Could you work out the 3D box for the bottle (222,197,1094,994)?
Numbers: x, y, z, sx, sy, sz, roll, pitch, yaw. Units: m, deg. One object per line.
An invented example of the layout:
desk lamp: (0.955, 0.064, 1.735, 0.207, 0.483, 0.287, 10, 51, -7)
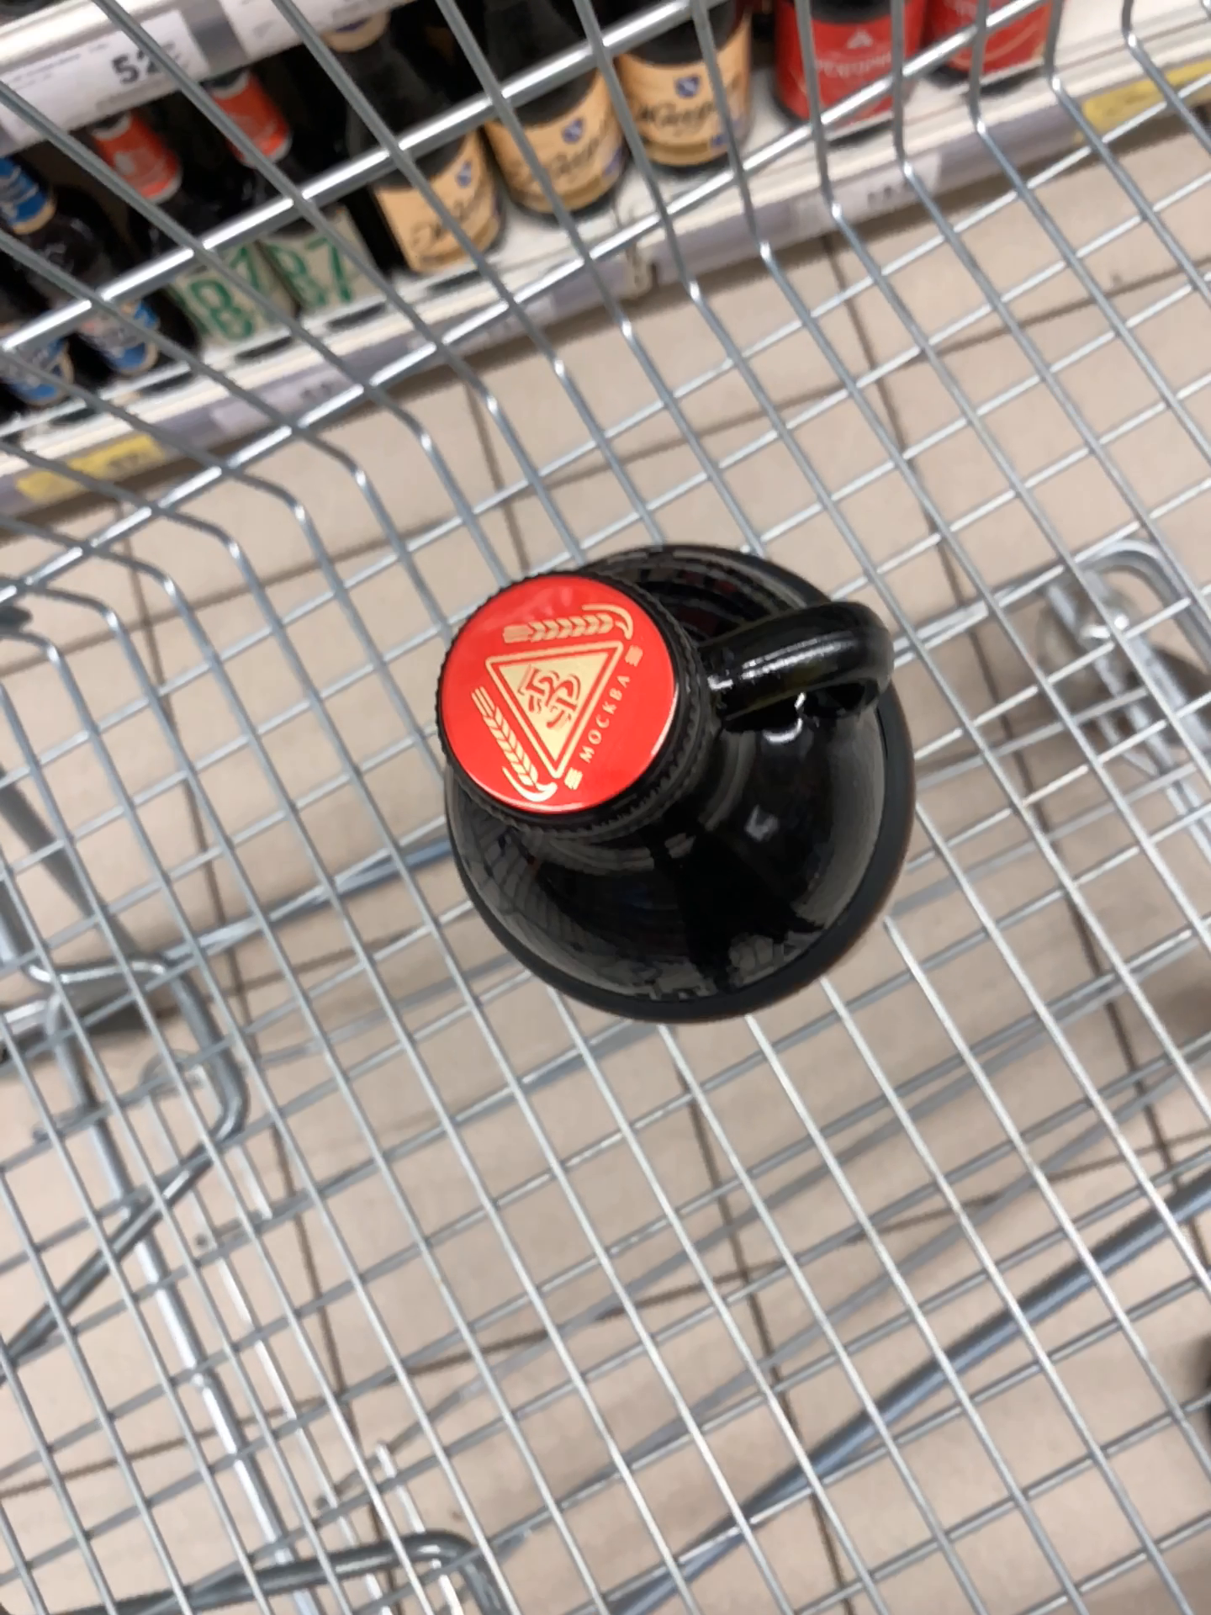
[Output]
bottle: (0.022, -0.012, 0.290, 0.110, 0.230, 0.100, -1, 81, 9)
